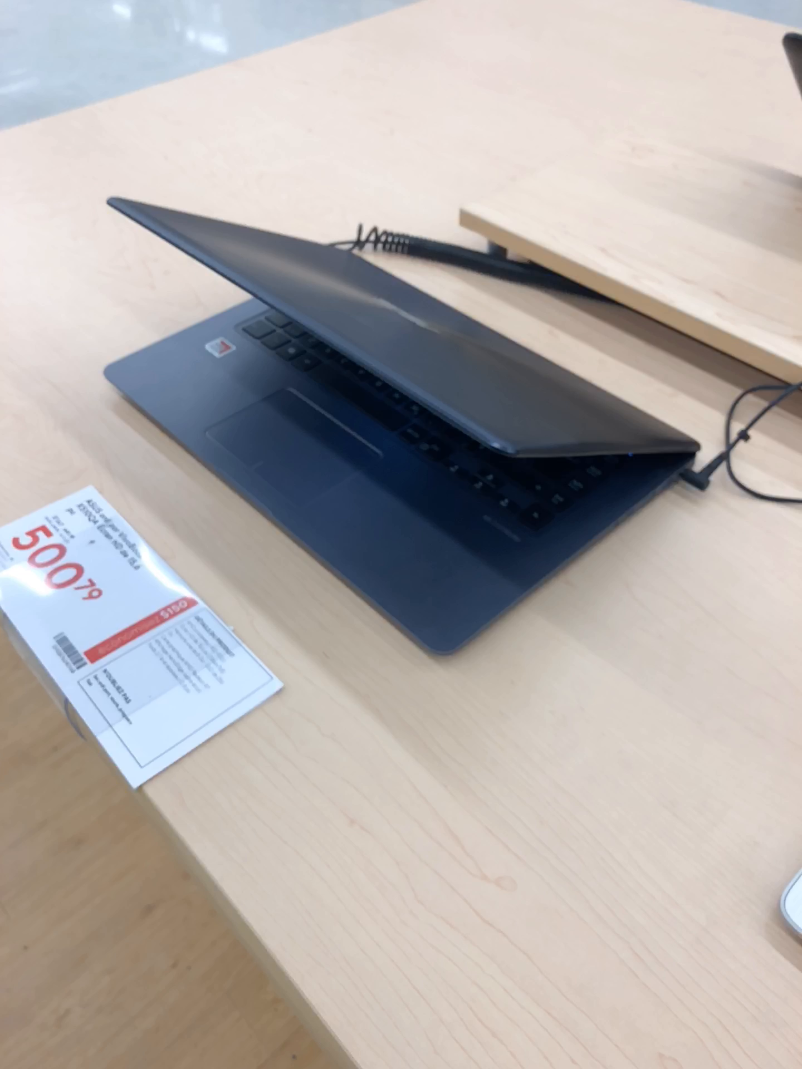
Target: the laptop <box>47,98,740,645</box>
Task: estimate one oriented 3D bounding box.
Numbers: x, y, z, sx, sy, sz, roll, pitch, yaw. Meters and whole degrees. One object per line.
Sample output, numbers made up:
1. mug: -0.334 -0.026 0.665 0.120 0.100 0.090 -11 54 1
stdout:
1. laptop: -0.015 -0.134 0.575 0.232 0.136 0.345 -35 55 -28
